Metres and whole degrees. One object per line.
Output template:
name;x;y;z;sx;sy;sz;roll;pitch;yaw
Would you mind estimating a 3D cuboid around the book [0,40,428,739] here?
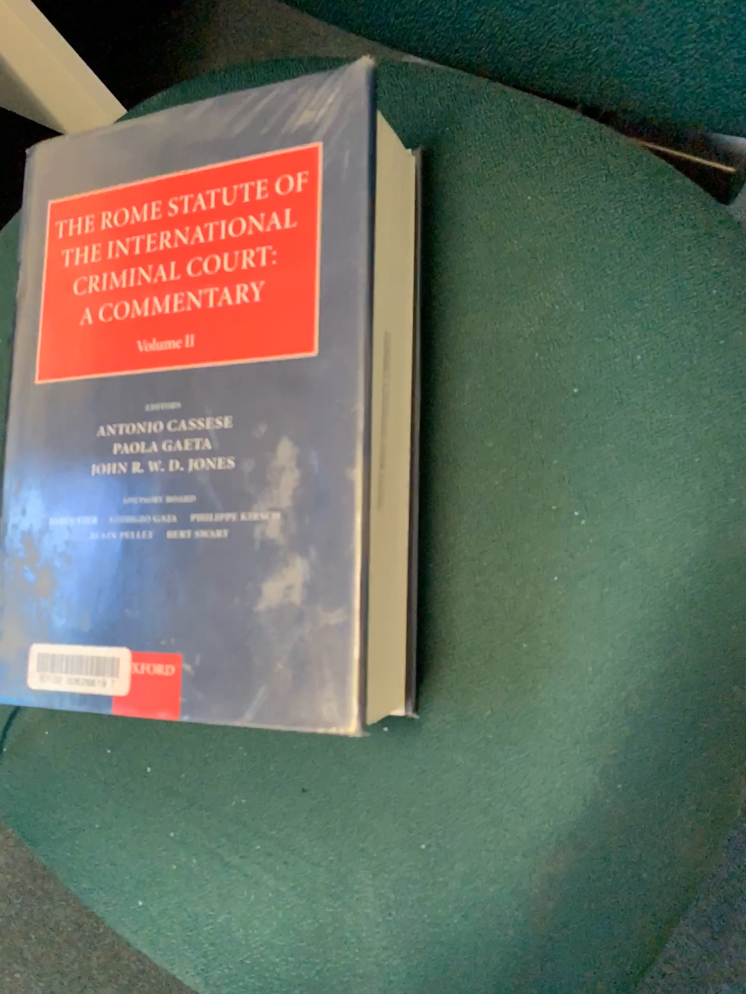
book;-0.078;-0.039;0.333;0.188;0.070;0.256;-2;80;21
